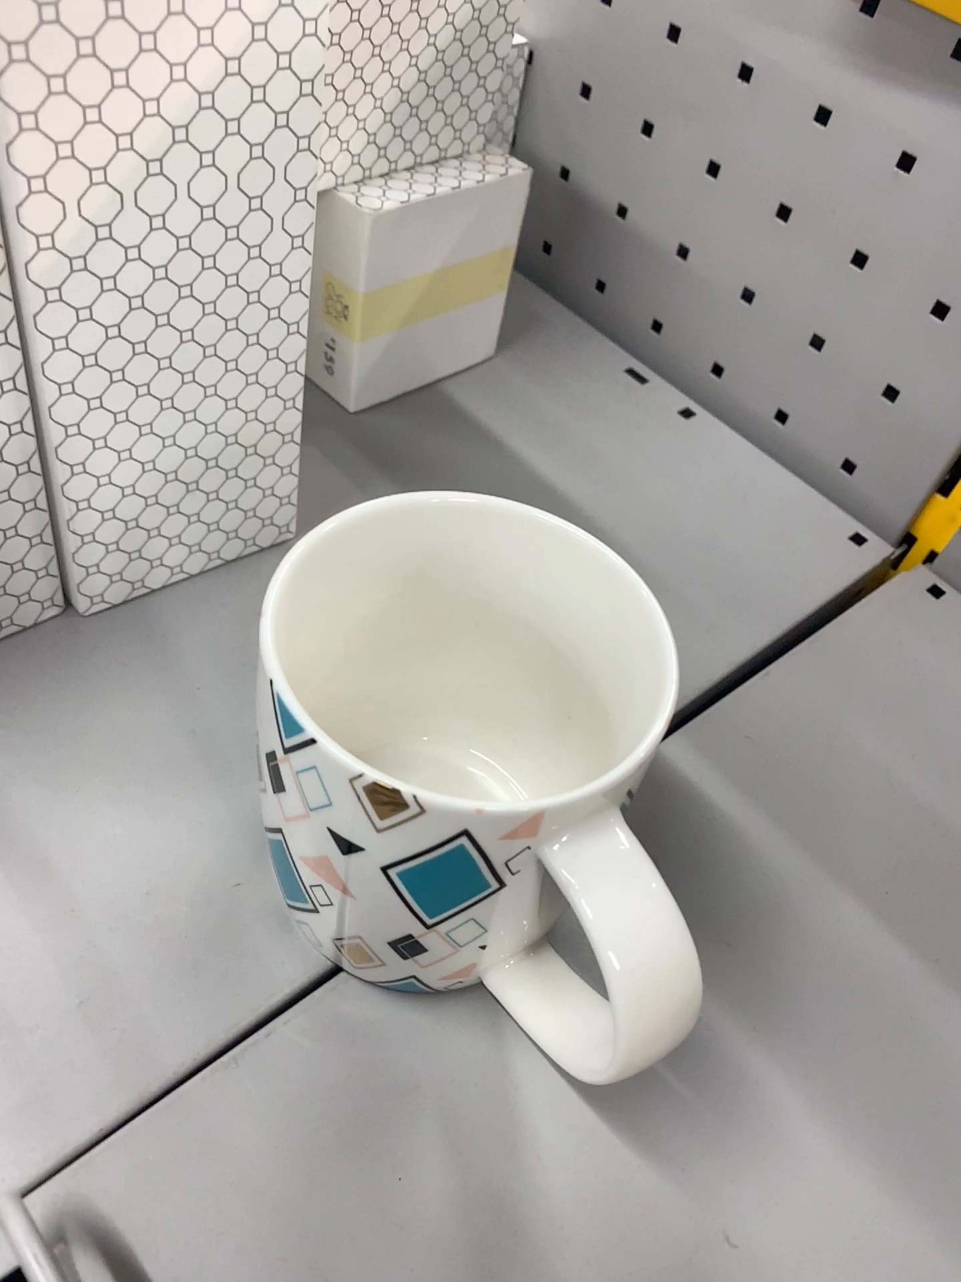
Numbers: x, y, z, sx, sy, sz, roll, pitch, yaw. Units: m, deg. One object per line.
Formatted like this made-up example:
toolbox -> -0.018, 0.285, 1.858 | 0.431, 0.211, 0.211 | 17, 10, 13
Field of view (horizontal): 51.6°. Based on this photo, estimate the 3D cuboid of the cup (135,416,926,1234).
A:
cup -> 0.000, 0.033, 0.220 | 0.100, 0.090, 0.120 | -23, 59, -29
